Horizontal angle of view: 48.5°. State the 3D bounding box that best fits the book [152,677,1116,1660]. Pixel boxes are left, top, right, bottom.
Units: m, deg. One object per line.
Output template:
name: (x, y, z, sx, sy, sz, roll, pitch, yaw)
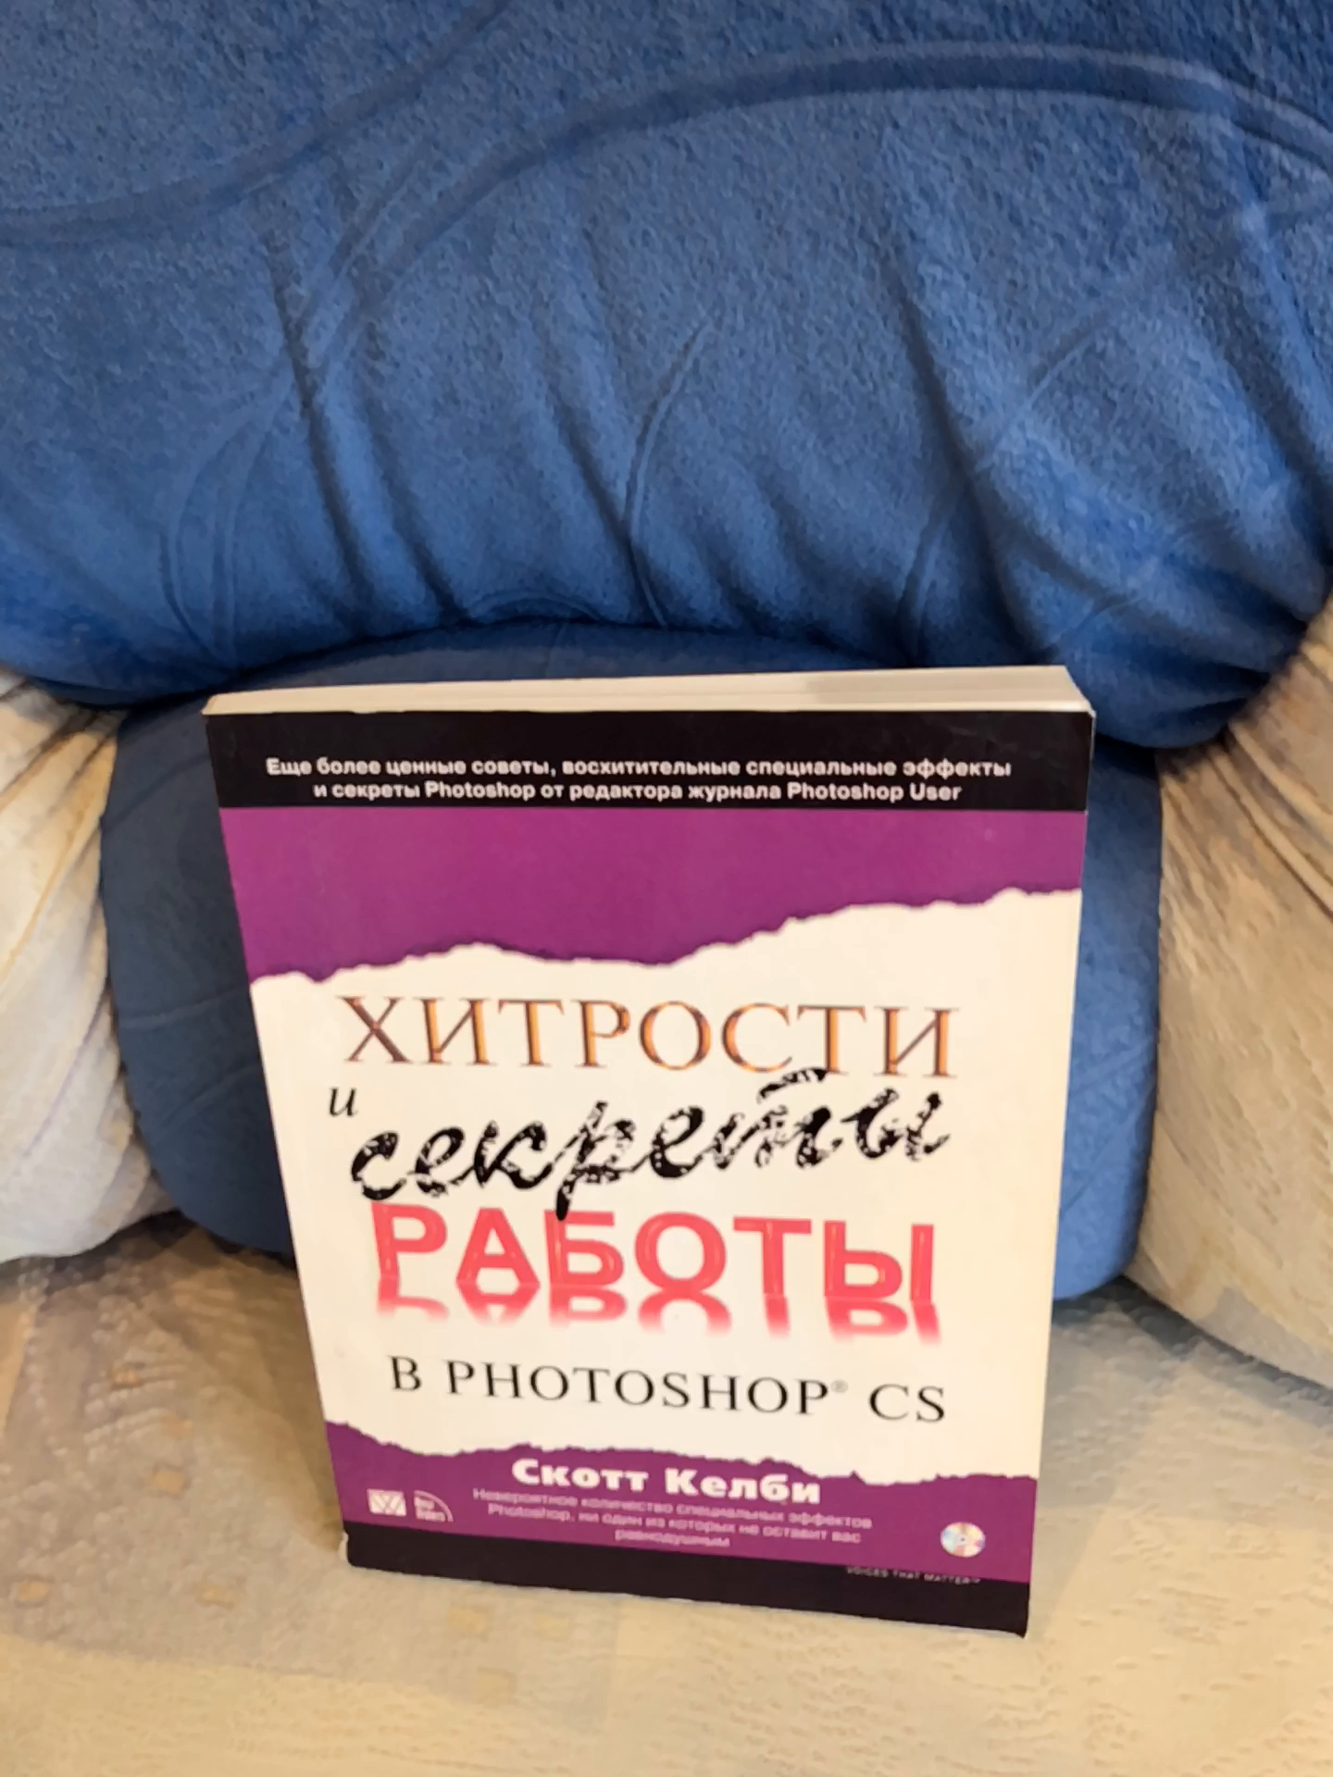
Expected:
book: (-0.003, 0.081, 0.383, 0.209, 0.270, 0.030, 1, 24, 9)
